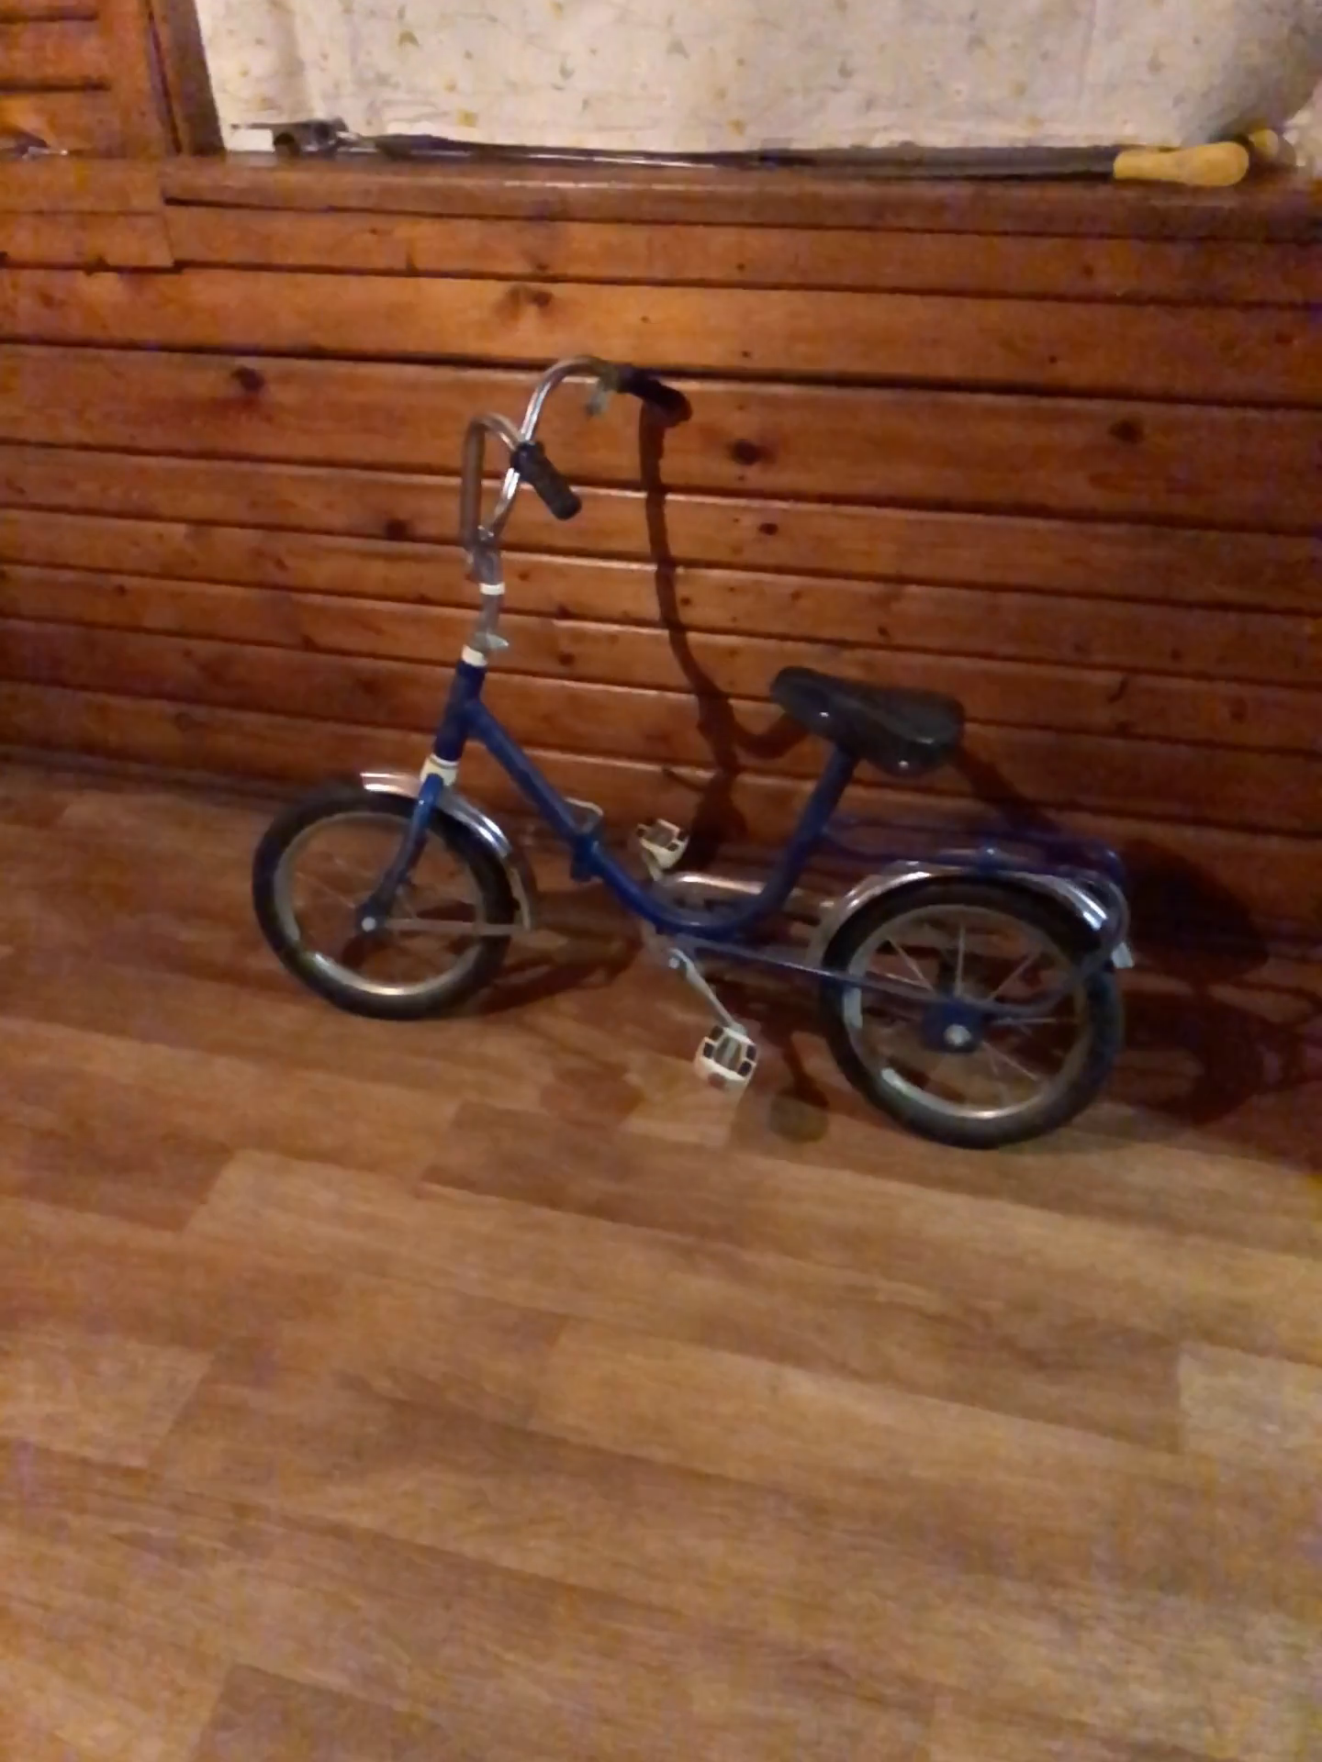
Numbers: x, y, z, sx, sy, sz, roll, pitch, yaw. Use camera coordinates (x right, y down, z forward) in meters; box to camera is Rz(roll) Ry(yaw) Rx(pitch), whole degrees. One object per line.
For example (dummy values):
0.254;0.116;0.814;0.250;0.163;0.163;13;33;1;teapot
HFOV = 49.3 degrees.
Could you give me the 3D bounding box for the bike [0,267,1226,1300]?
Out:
0.006;-0.144;1.488;0.956;0.697;0.597;11;38;14;bike
